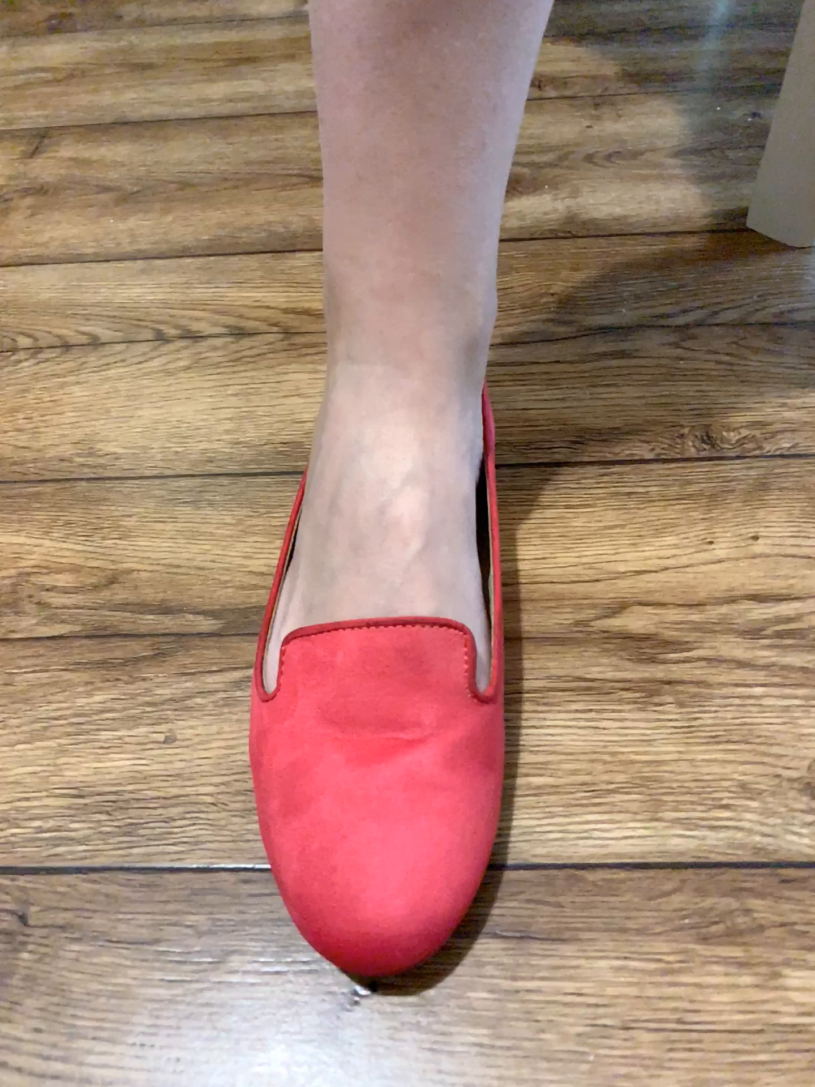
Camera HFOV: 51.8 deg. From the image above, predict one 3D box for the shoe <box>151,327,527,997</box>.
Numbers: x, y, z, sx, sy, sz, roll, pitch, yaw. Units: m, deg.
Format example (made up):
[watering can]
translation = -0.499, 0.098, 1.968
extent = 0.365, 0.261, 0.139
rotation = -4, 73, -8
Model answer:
[shoe]
translation = -0.005, 0.021, 0.284
extent = 0.086, 0.060, 0.221
rotation = 2, 52, 7
